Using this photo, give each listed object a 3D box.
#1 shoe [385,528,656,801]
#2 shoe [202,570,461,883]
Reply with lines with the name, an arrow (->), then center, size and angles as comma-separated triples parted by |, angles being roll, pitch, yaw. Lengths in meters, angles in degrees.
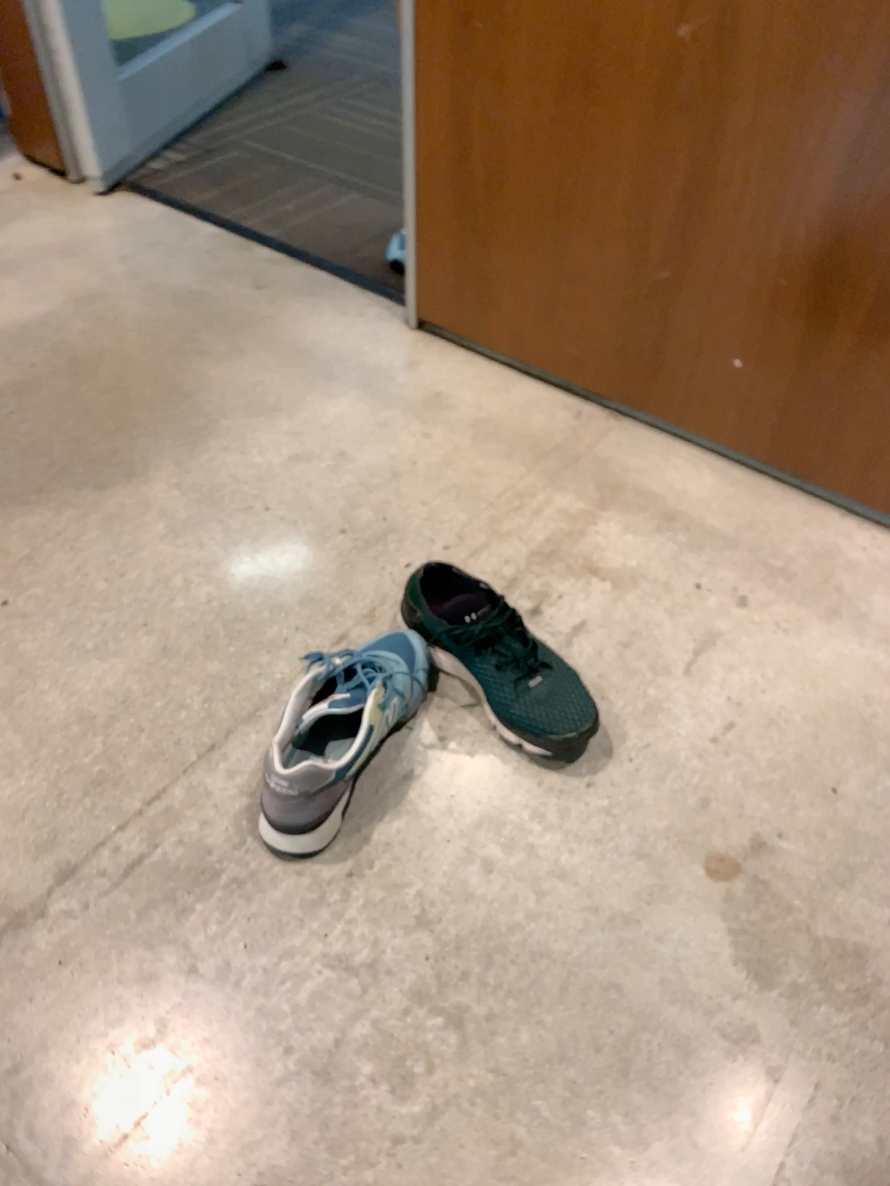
shoe -> 0.076, 0.072, 1.087 | 0.140, 0.090, 0.321 | -27, 52, -25
shoe -> -0.106, 0.128, 0.989 | 0.130, 0.090, 0.321 | 18, 48, 16
